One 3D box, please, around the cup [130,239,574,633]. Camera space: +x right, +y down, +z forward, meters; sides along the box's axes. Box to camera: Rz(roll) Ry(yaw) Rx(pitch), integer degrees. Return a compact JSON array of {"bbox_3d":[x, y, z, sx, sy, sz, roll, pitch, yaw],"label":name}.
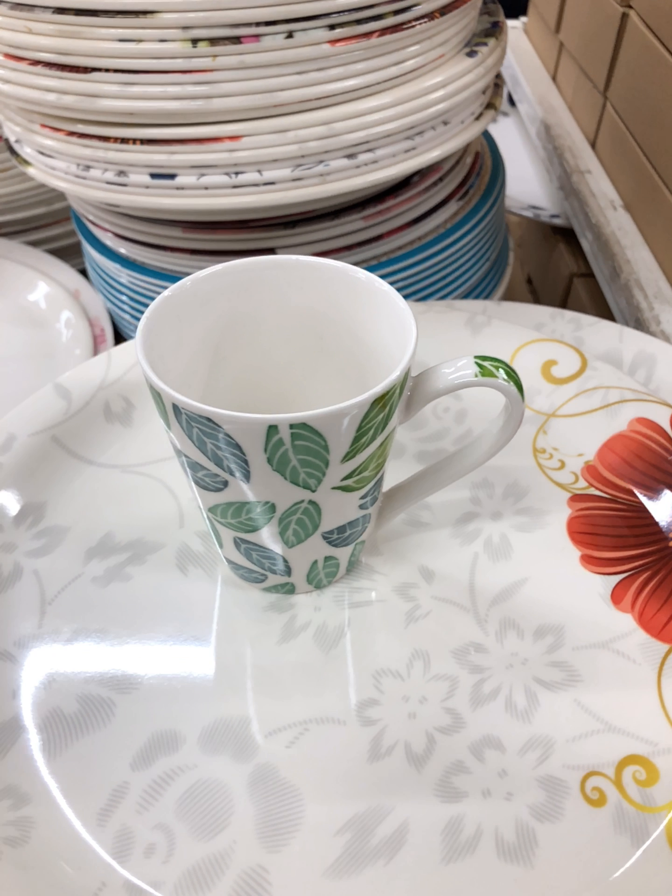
[{"bbox_3d":[0.003,-0.001,0.273,0.120,0.119,0.081,-1,46,-2],"label":"cup"}]
